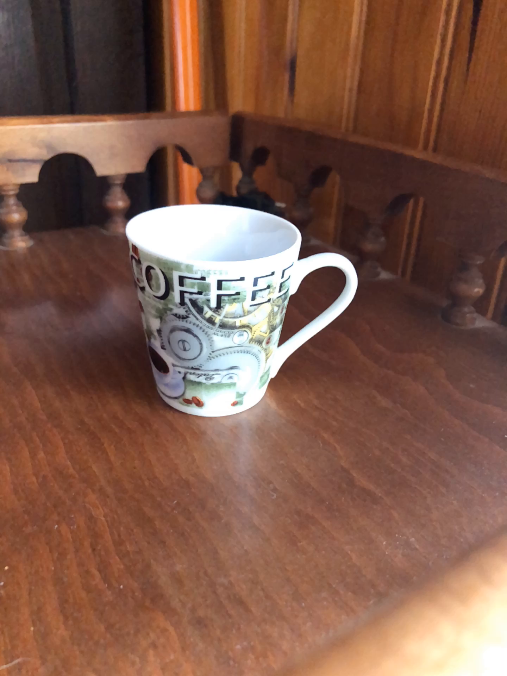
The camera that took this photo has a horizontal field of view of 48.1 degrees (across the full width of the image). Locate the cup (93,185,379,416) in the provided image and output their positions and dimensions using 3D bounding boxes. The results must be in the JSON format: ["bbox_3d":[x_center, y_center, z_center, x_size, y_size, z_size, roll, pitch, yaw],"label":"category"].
[{"bbox_3d":[-0.007,-0.016,0.199,0.080,0.060,0.060,0,28,-4],"label":"cup"}]
